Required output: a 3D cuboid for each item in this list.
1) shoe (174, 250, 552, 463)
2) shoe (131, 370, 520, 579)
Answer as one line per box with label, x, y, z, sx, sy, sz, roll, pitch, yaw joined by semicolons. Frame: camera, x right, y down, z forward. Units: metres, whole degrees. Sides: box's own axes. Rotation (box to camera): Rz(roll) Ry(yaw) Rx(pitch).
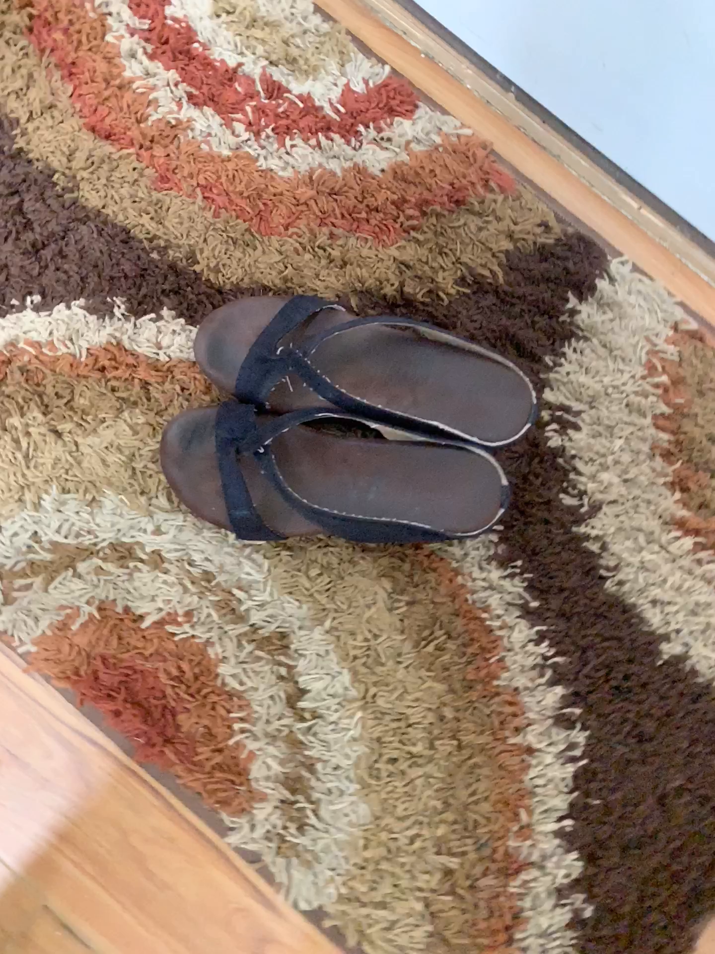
shoe;0.004;-0.075;0.476;0.223;0.052;0.084;11;80;-2
shoe;-0.018;0.002;0.468;0.222;0.062;0.090;9;80;-2
